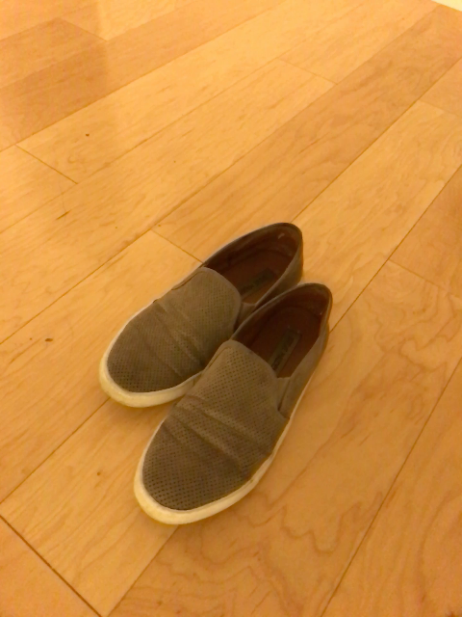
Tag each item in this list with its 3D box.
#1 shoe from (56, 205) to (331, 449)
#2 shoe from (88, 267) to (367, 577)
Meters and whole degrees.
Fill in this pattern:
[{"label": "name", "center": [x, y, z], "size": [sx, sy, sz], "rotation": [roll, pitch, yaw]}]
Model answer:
[{"label": "shoe", "center": [-0.027, 0.003, 0.529], "size": [0.110, 0.060, 0.281], "rotation": [38, 58, 22]}, {"label": "shoe", "center": [0.011, 0.084, 0.471], "size": [0.110, 0.050, 0.282], "rotation": [31, 56, 18]}]
